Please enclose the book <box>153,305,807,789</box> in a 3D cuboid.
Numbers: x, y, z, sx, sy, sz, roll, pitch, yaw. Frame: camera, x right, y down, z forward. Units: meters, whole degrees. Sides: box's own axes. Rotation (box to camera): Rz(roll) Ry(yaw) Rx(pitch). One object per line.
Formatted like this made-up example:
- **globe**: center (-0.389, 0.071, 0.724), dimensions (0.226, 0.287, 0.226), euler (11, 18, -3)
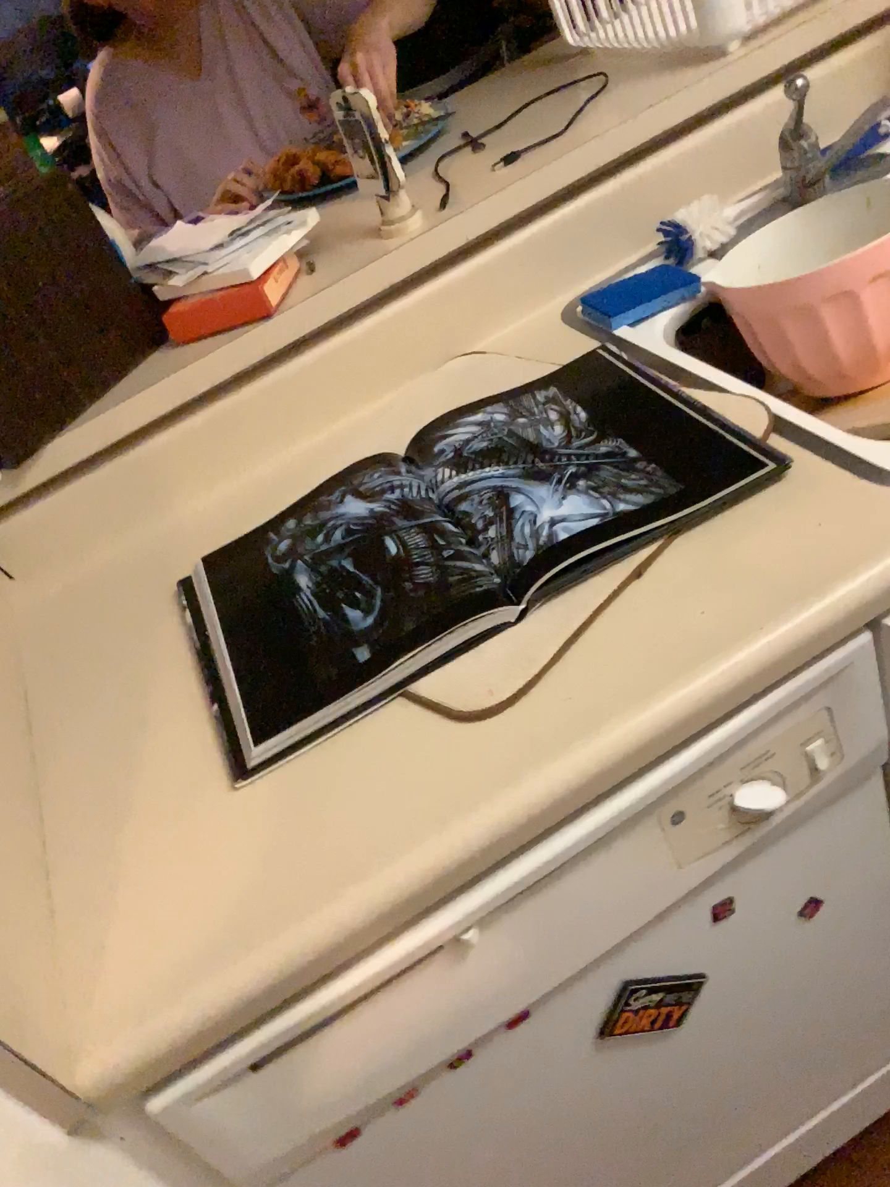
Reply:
- **book**: center (-0.003, -0.079, 0.913), dimensions (0.530, 0.040, 0.350), euler (-29, 37, -4)
